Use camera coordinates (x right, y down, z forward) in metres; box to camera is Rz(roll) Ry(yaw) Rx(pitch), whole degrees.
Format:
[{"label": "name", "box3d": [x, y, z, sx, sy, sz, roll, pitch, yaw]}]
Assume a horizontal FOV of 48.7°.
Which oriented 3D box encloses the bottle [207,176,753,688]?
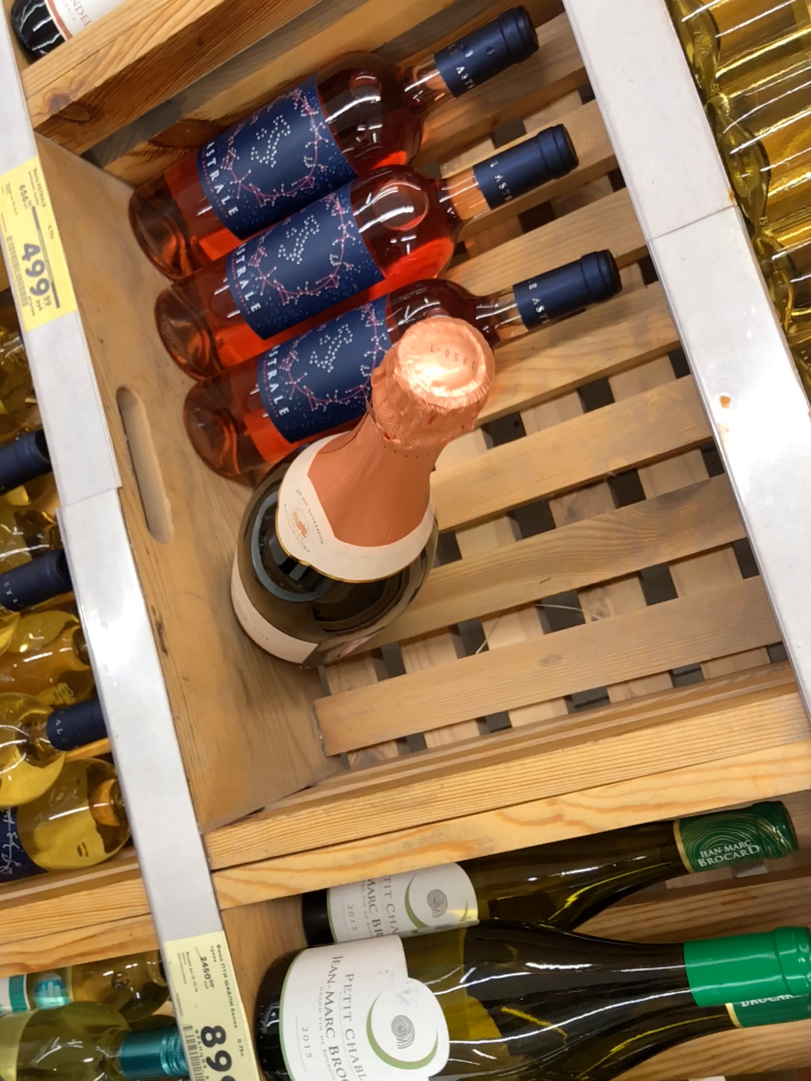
[{"label": "bottle", "box3d": [-0.011, -0.013, 0.441, 0.110, 0.360, 0.120, 4, 77, -17]}]
